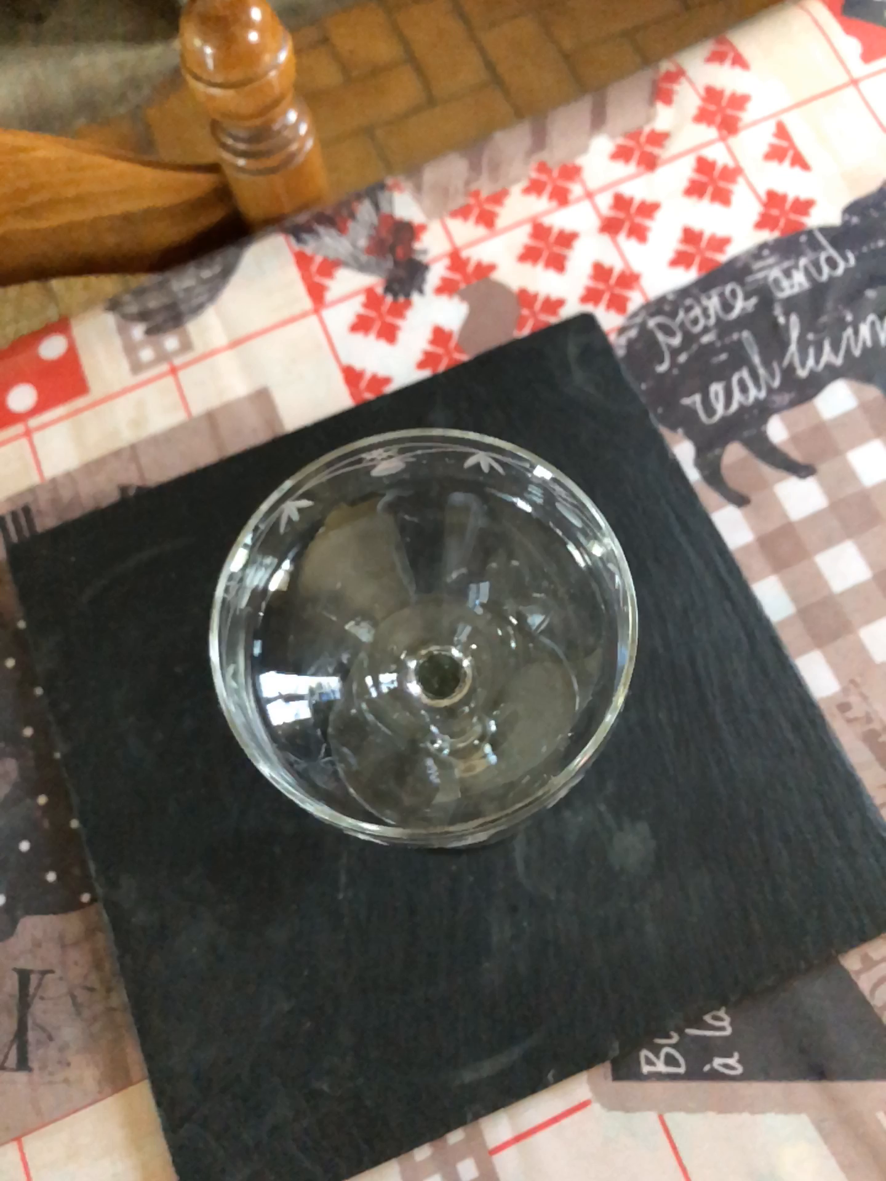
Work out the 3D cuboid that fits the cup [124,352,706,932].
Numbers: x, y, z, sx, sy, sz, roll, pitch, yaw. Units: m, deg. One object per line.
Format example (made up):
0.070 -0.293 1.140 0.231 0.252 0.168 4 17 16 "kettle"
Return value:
-0.004 0.024 0.266 0.090 0.120 0.090 -2 69 5 "cup"
